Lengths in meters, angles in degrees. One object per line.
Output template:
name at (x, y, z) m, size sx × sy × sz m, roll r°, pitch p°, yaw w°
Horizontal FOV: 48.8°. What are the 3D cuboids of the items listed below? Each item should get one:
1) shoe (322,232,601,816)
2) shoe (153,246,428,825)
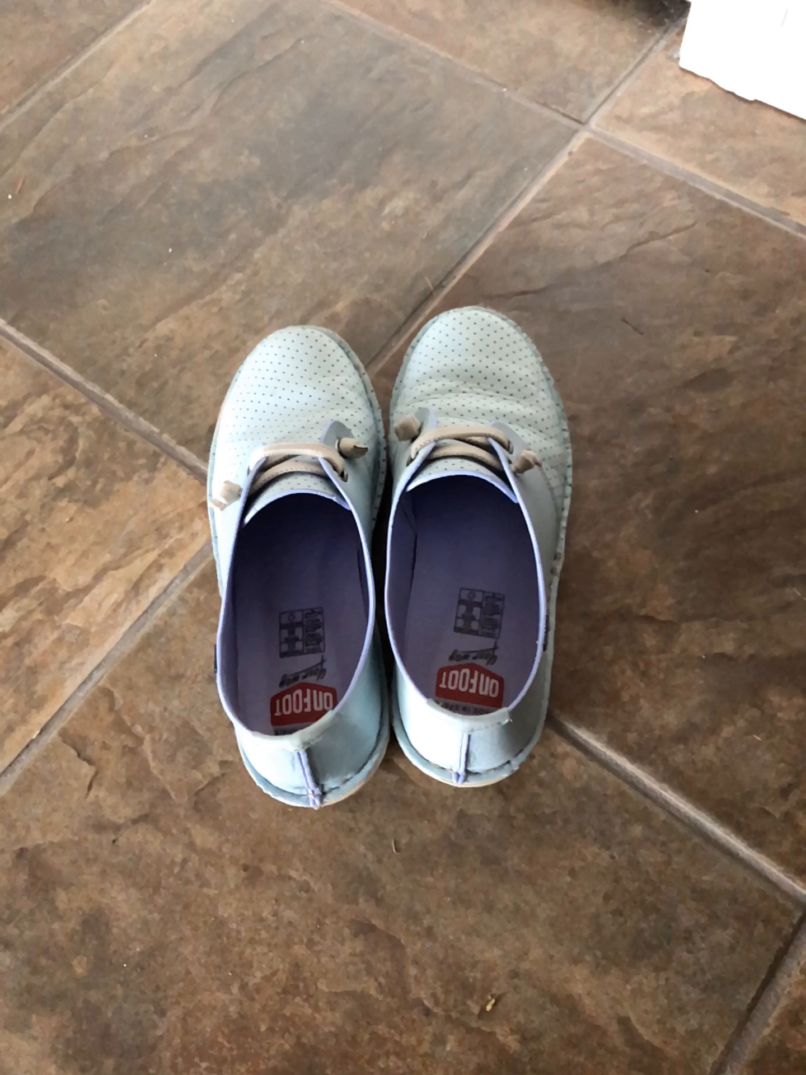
shoe at (0.031, -0.009, 0.413) m, size 0.100 × 0.100 × 0.251 m, roll 2°, pitch 67°, yaw 5°
shoe at (-0.052, -0.002, 0.427) m, size 0.100 × 0.100 × 0.251 m, roll -6°, pitch 66°, yaw 1°
